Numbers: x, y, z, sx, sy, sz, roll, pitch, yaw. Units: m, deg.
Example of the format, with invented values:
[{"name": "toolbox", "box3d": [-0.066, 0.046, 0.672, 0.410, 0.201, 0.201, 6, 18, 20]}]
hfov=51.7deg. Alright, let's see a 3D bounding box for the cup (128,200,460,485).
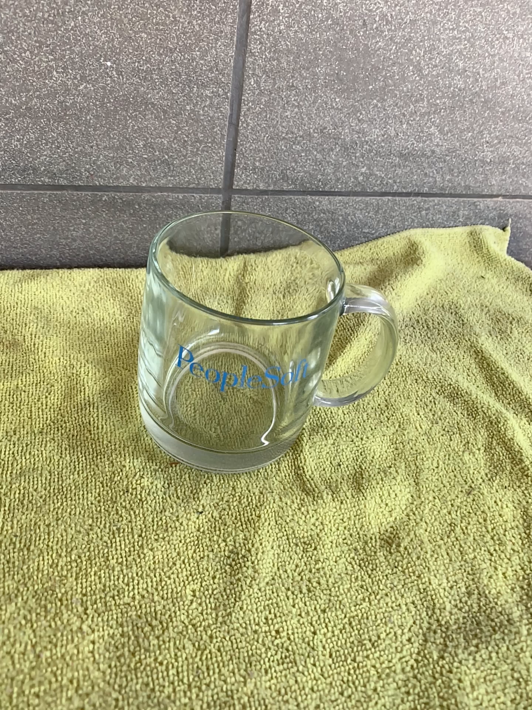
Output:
[{"name": "cup", "box3d": [0.002, -0.003, 0.256, 0.120, 0.100, 0.080, 2, 41, -10]}]
